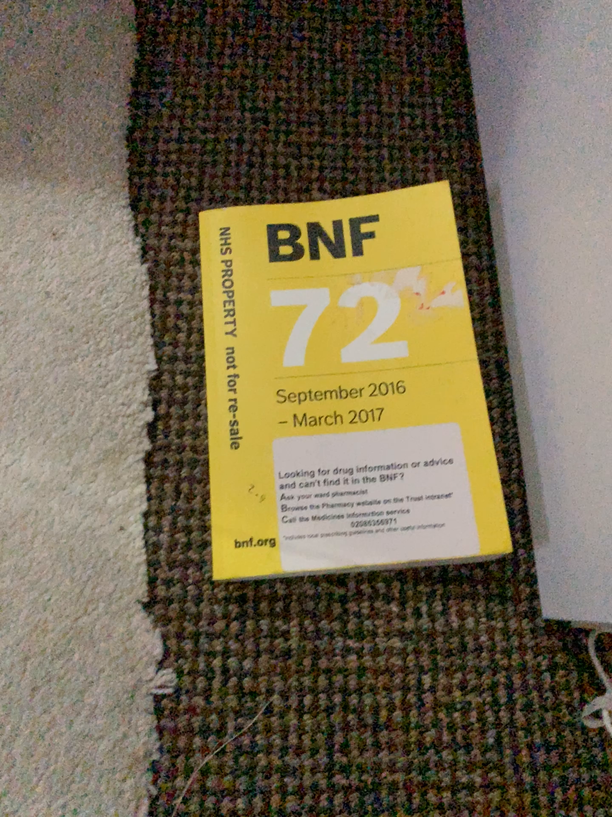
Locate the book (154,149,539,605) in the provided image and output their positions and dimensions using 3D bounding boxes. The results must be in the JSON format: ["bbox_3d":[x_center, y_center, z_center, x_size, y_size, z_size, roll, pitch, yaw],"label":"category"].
[{"bbox_3d":[0.011,-0.022,0.326,0.160,0.050,0.221,-5,73,-5],"label":"book"}]
